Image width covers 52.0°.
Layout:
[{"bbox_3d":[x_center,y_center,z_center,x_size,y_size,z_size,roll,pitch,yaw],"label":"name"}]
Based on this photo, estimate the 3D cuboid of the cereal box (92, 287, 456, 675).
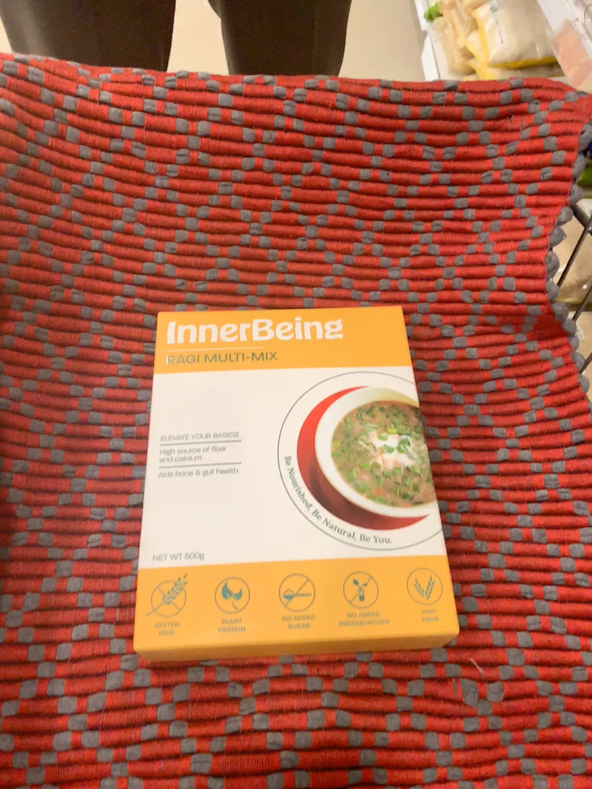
[{"bbox_3d":[-0.014,0.040,0.329,0.150,0.070,0.190,-2,59,-3],"label":"cereal box"}]
